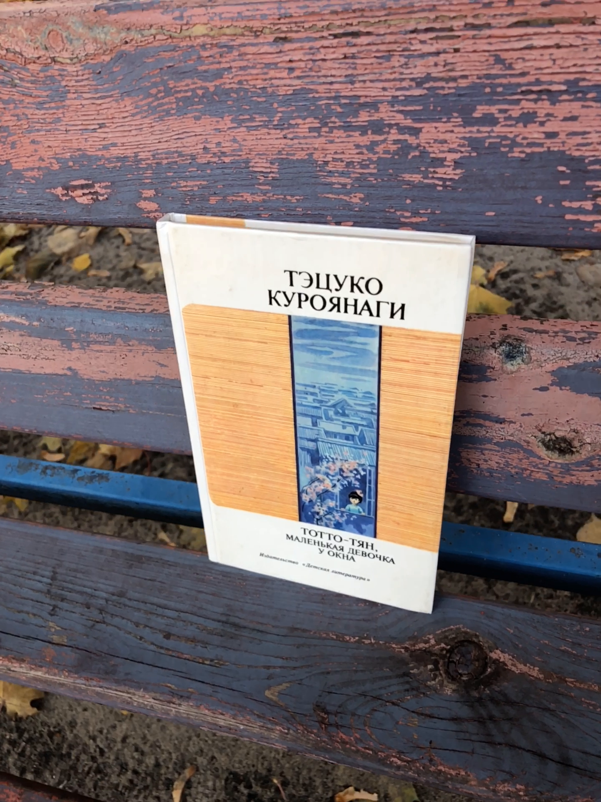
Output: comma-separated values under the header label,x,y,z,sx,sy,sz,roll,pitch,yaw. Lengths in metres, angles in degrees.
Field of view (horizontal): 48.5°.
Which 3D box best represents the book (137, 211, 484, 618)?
label,x,y,z,sx,sy,sz,roll,pitch,yaw
book,0.003,0.017,0.311,0.134,0.198,0.016,8,35,13
